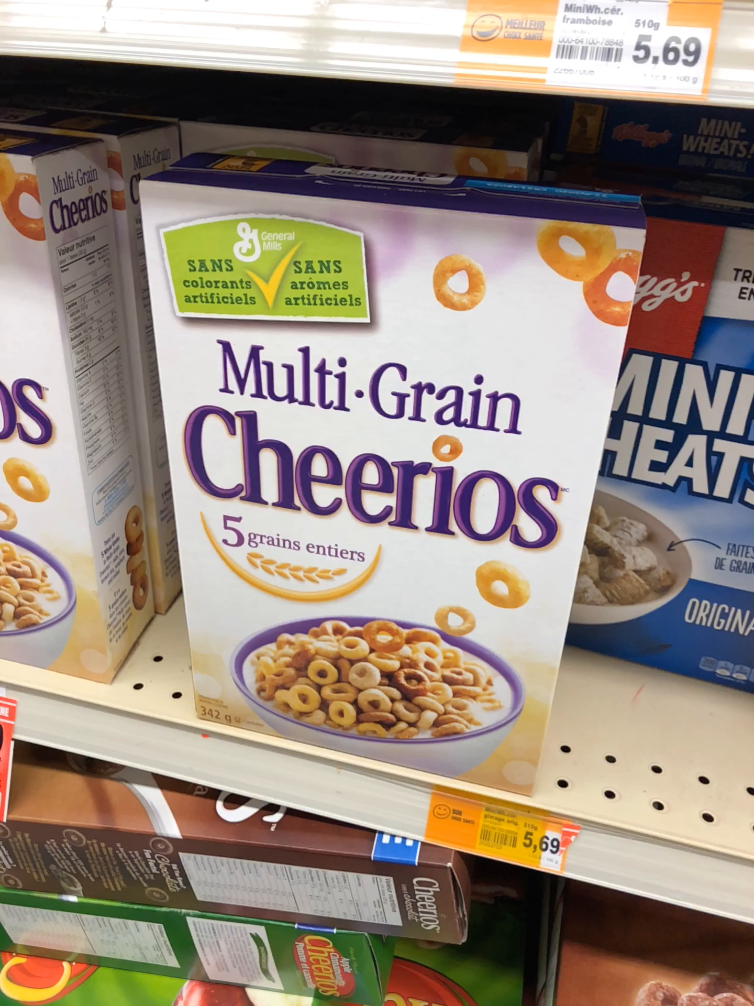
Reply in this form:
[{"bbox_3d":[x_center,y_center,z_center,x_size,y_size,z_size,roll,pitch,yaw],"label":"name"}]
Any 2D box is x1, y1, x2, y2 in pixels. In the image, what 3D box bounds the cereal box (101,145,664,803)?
[{"bbox_3d":[-0.003,-0.002,0.385,0.200,0.278,0.060,10,33,11],"label":"cereal box"}]
